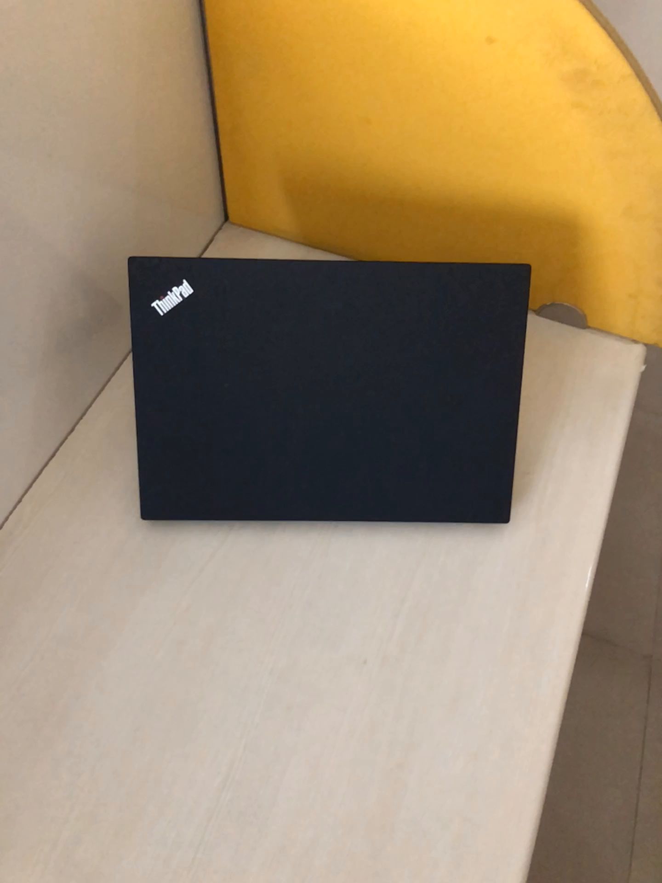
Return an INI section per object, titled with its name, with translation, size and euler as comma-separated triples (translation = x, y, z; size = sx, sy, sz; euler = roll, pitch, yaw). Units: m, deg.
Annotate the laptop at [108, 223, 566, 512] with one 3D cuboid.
[laptop]
translation = -0.001, -0.072, 0.702
size = 0.349, 0.166, 0.241
euler = 0, 53, -1
